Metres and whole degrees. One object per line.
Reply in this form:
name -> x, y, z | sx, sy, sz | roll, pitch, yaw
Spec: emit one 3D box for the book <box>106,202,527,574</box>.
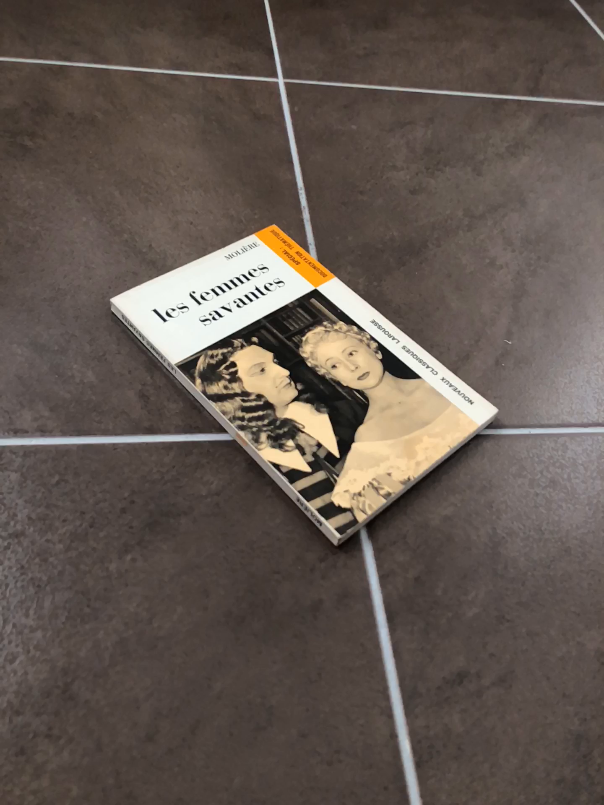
book -> 0.006, -0.021, 0.323 | 0.121, 0.020, 0.170 | -32, 67, -30
